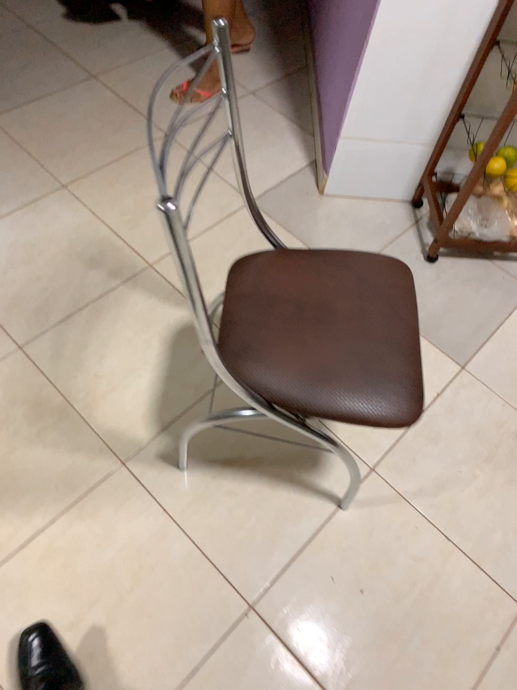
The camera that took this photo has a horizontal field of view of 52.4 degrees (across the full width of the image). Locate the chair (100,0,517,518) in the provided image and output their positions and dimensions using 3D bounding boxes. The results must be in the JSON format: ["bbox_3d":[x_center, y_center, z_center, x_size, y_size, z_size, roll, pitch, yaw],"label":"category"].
[{"bbox_3d":[0.066,-0.040,0.985,0.483,0.872,0.421,9,56,-1],"label":"chair"}]
